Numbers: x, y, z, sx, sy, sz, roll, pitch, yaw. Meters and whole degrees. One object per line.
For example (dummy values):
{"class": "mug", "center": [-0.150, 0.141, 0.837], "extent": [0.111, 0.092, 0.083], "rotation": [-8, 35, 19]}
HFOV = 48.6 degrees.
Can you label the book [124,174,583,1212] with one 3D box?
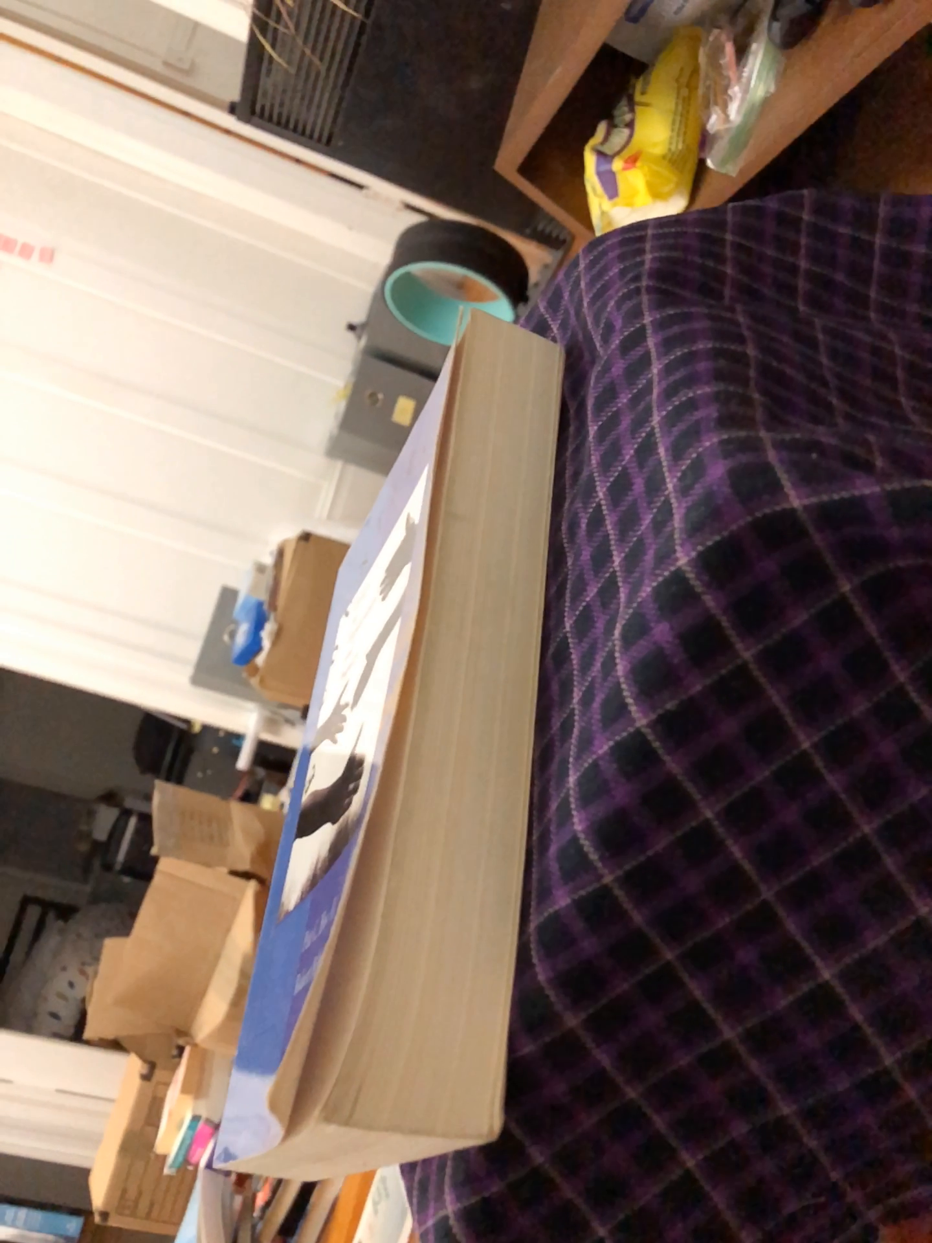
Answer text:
{"class": "book", "center": [-0.036, 0.029, 0.318], "extent": [0.200, 0.040, 0.260], "rotation": [128, 155, -53]}
